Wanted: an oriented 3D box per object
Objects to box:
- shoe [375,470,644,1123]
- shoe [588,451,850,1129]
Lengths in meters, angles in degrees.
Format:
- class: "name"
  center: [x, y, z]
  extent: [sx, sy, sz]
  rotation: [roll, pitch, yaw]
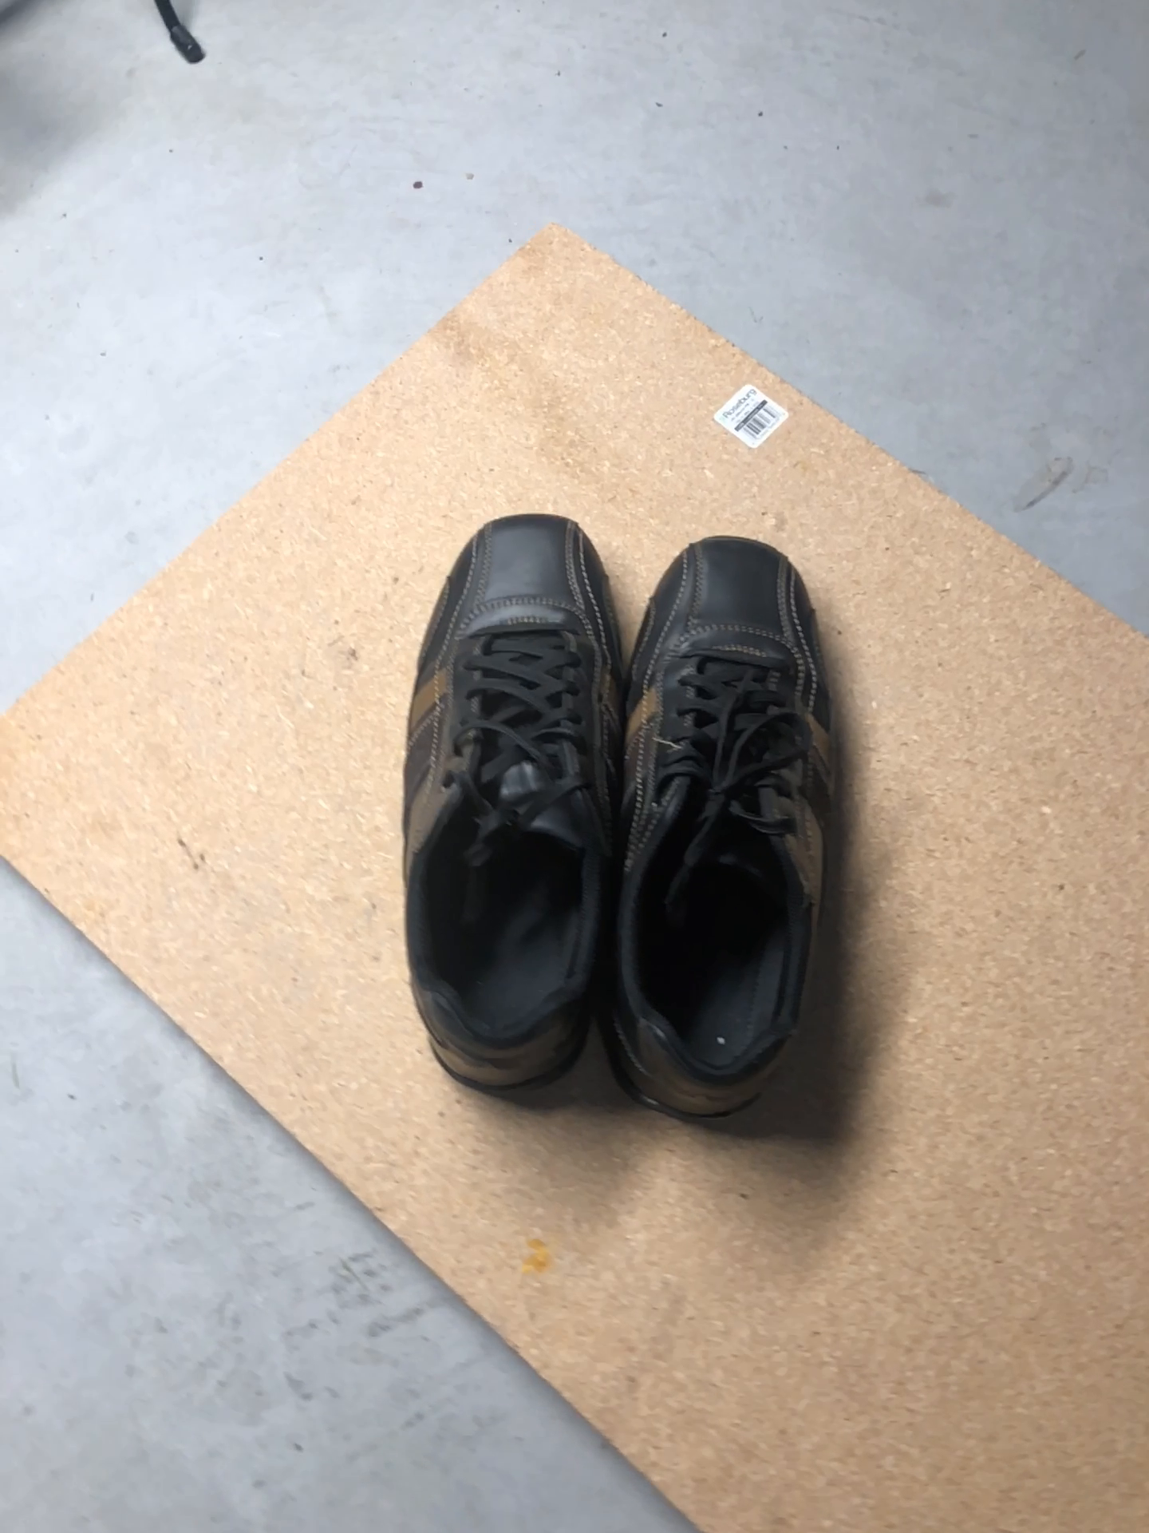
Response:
- class: "shoe"
  center: [-0.026, 0.012, 0.625]
  extent: [0.100, 0.100, 0.300]
  rotation: [4, 67, -1]
- class: "shoe"
  center: [0.071, 0.009, 0.581]
  extent: [0.100, 0.100, 0.290]
  rotation: [1, 70, 8]
